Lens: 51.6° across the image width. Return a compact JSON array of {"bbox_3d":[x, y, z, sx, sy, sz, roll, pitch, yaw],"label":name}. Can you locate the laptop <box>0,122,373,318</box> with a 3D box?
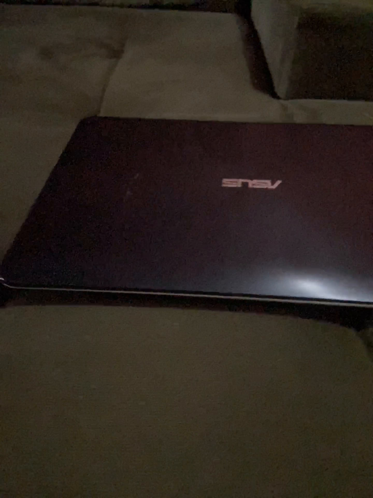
[{"bbox_3d":[0.052,-0.049,0.346,0.369,0.004,0.236,3,45,2],"label":"laptop"}]
